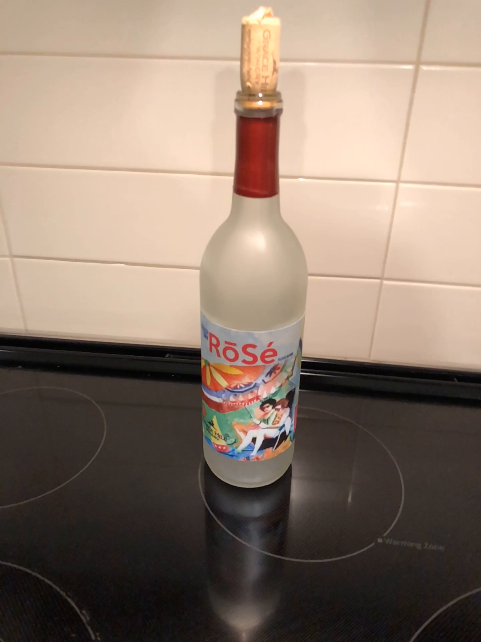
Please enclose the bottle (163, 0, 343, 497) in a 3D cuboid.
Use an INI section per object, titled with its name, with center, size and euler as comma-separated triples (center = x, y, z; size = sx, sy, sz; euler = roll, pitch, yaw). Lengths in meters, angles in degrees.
[bottle]
center = 0.009, -0.033, 0.364
size = 0.080, 0.318, 0.080
euler = 1, 29, 0
